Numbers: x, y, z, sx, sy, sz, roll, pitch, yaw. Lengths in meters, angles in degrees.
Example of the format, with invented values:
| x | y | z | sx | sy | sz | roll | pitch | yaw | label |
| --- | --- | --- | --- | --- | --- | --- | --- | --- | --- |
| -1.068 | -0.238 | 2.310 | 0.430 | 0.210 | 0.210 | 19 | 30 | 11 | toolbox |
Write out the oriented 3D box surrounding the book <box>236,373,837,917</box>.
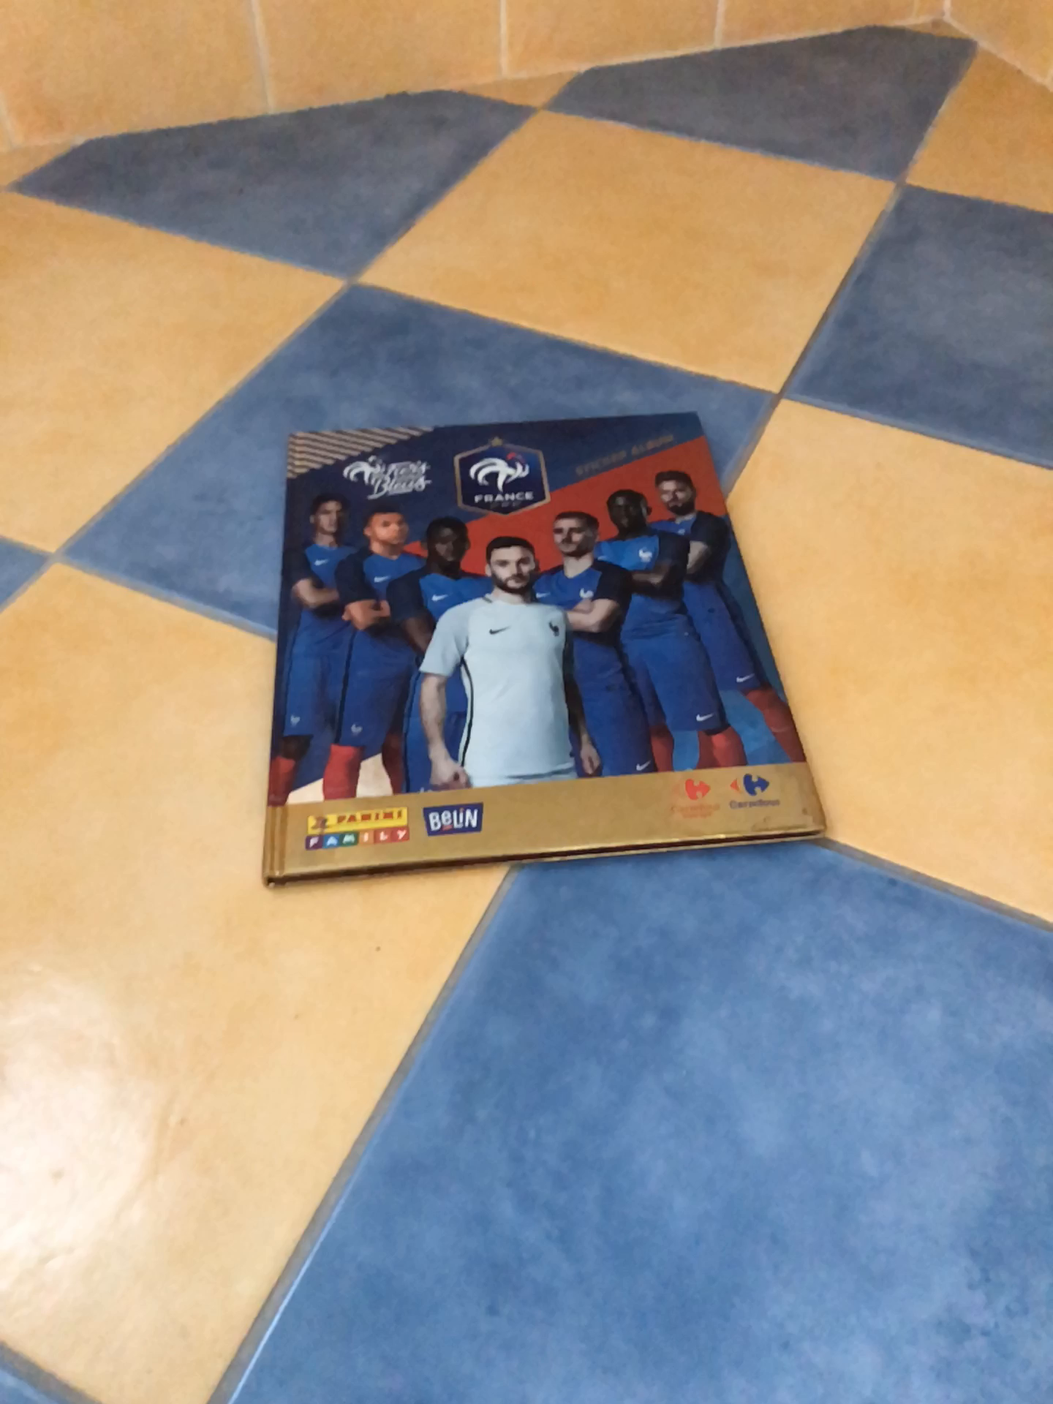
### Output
| x | y | z | sx | sy | sz | roll | pitch | yaw | label |
| --- | --- | --- | --- | --- | --- | --- | --- | --- | --- |
| -0.009 | -0.052 | 0.576 | 0.240 | 0.030 | 0.321 | -4 | 50 | -4 | book |
